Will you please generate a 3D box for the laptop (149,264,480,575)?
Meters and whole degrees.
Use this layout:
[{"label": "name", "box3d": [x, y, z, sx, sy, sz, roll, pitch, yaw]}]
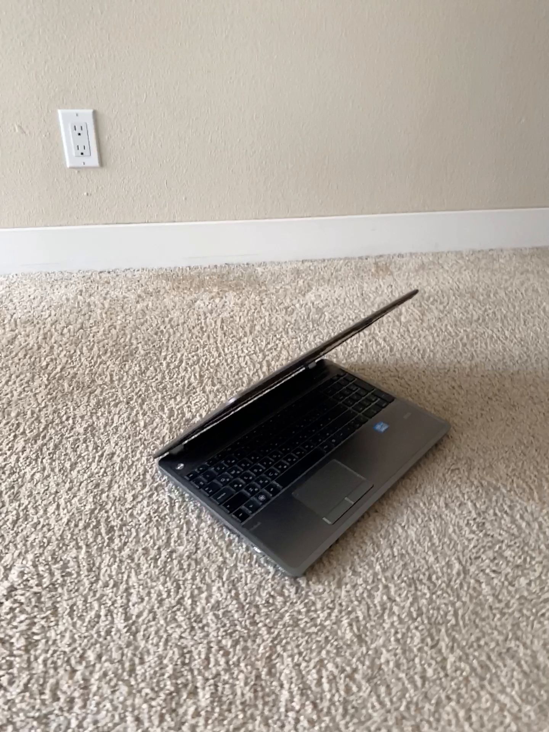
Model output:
[{"label": "laptop", "box3d": [0.062, 0.035, 0.765, 0.254, 0.186, 0.369, 28, 40, 32]}]
